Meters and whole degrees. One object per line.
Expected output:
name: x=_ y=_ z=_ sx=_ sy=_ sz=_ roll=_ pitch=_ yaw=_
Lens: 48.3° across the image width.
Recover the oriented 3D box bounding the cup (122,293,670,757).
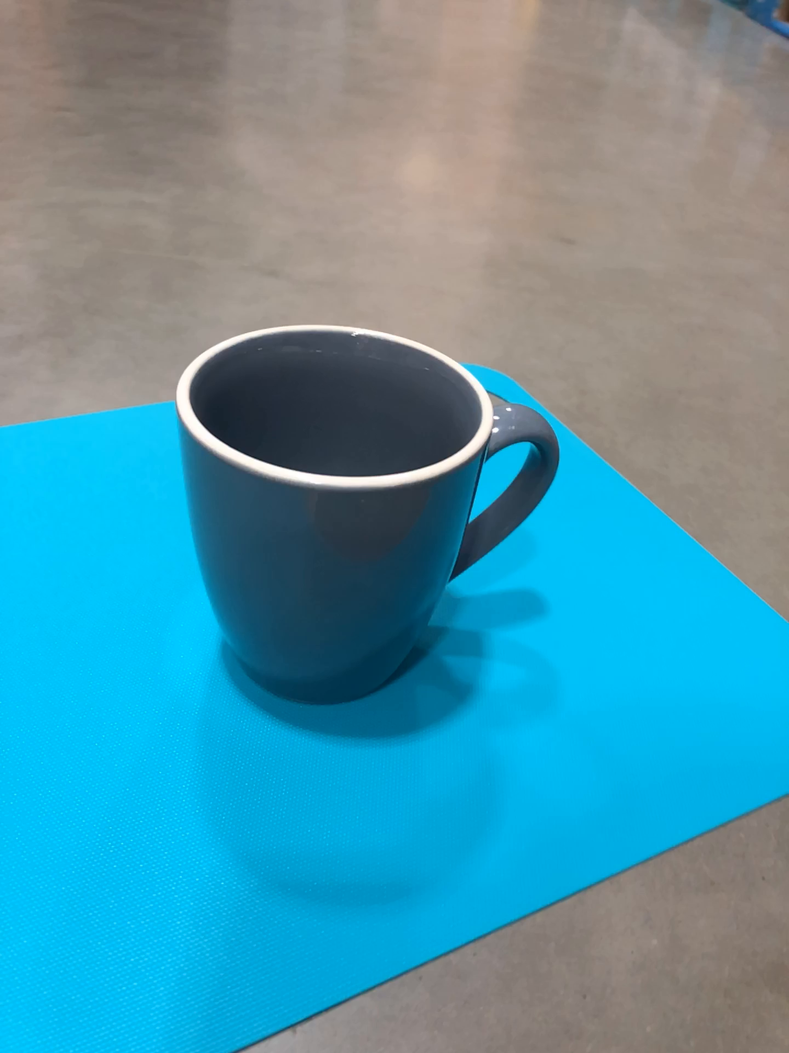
cup: x=-0.004 y=-0.010 z=0.276 sx=0.130 sy=0.080 sz=0.090 roll=-16 pitch=43 yaw=-27
